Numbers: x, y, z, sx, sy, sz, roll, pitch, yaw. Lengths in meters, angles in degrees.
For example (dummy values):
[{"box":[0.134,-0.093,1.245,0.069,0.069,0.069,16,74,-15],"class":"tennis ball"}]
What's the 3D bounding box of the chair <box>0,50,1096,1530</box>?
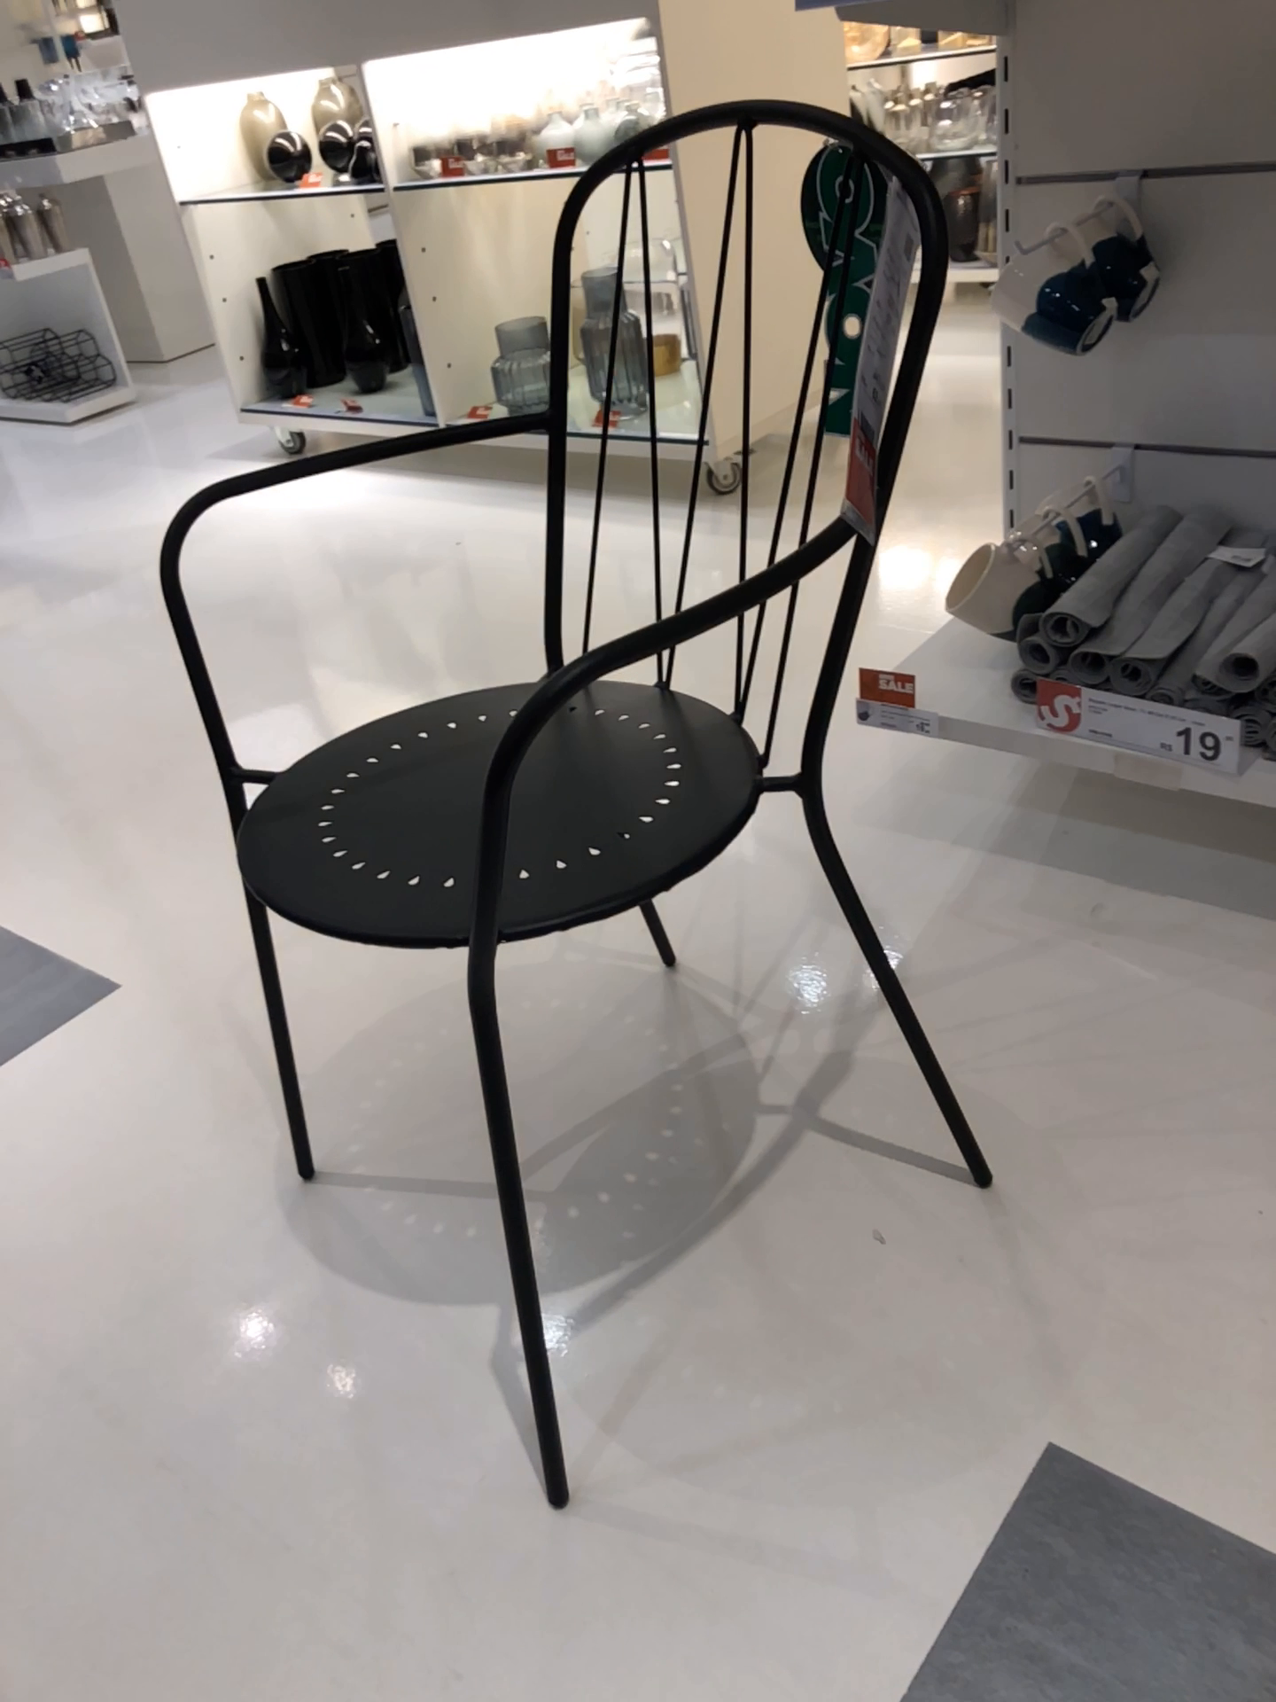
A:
[{"box":[-0.052,-0.083,1.066,0.561,0.814,0.513,-27,35,-25],"class":"chair"}]
